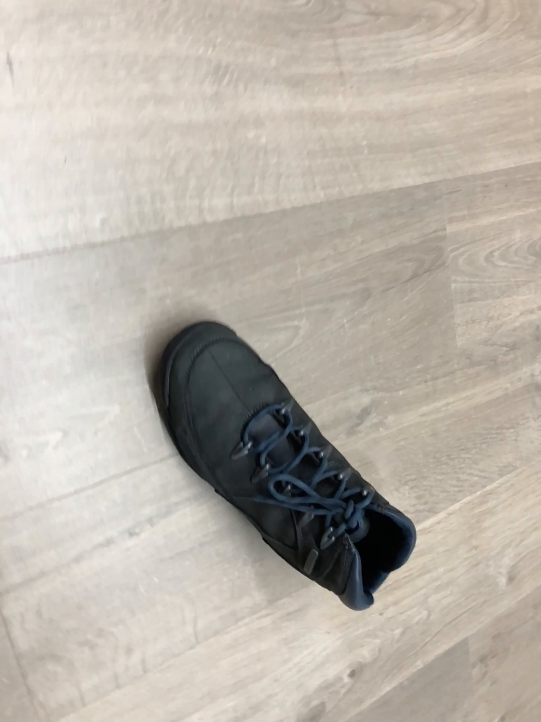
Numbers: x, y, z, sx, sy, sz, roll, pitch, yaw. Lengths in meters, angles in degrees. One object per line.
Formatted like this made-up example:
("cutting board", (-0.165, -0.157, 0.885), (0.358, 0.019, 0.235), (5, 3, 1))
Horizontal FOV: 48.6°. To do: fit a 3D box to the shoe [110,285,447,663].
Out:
("shoe", (0.013, 0.090, 0.501), (0.110, 0.130, 0.290), (-40, 116, -19))
